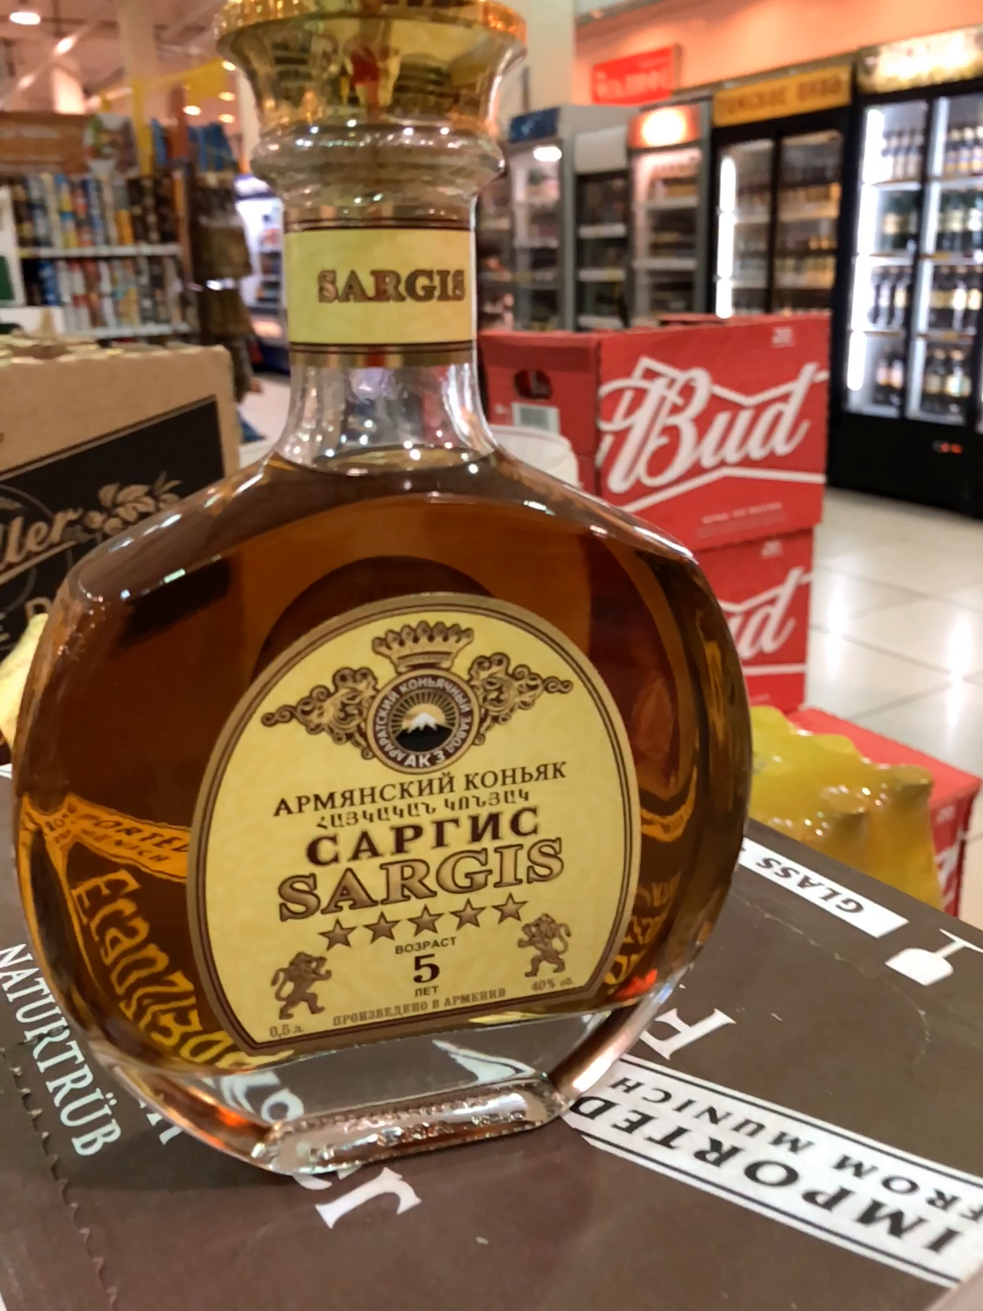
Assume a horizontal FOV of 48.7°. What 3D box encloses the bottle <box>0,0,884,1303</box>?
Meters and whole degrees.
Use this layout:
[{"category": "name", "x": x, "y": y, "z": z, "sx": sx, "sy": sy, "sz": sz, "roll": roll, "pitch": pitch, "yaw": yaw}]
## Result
[{"category": "bottle", "x": -0.015, "y": -0.002, "z": 0.212, "sx": 0.140, "sy": 0.209, "sz": 0.070, "roll": -7, "pitch": 20, "yaw": -15}]
